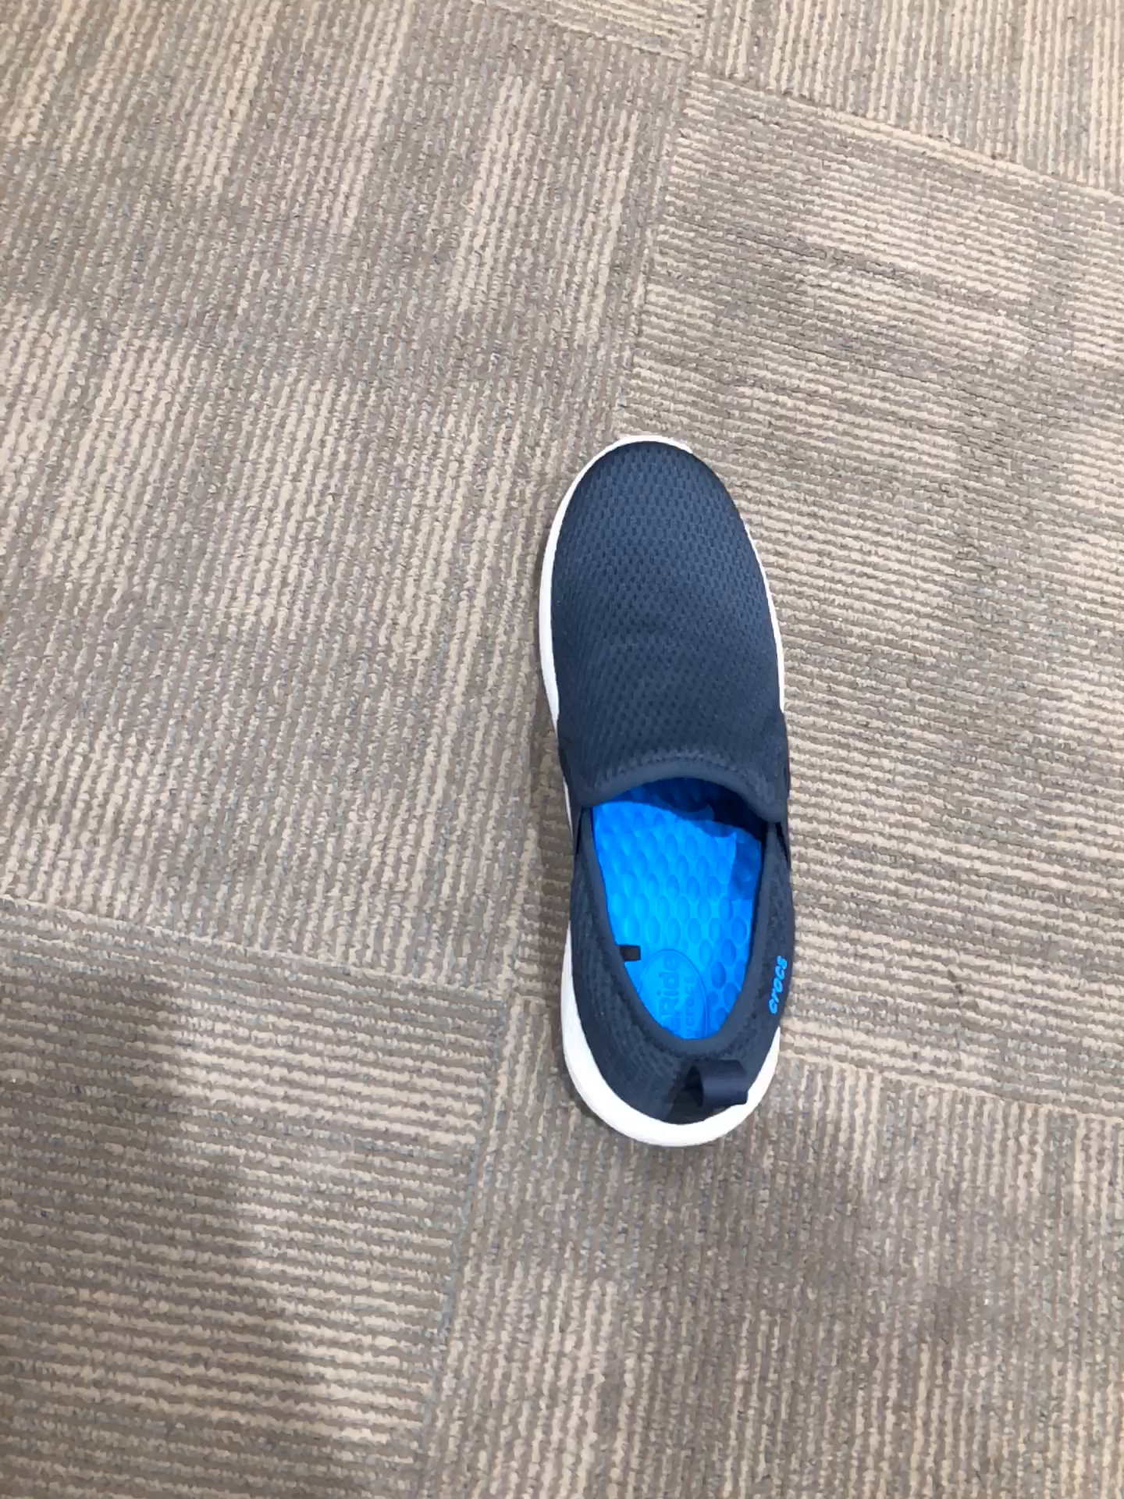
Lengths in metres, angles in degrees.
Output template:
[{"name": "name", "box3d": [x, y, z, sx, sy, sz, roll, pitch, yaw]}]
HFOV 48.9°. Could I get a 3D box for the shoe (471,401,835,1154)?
[{"name": "shoe", "box3d": [0.033, 0.017, 0.501, 0.110, 0.120, 0.271, 6, 73, -9]}]
